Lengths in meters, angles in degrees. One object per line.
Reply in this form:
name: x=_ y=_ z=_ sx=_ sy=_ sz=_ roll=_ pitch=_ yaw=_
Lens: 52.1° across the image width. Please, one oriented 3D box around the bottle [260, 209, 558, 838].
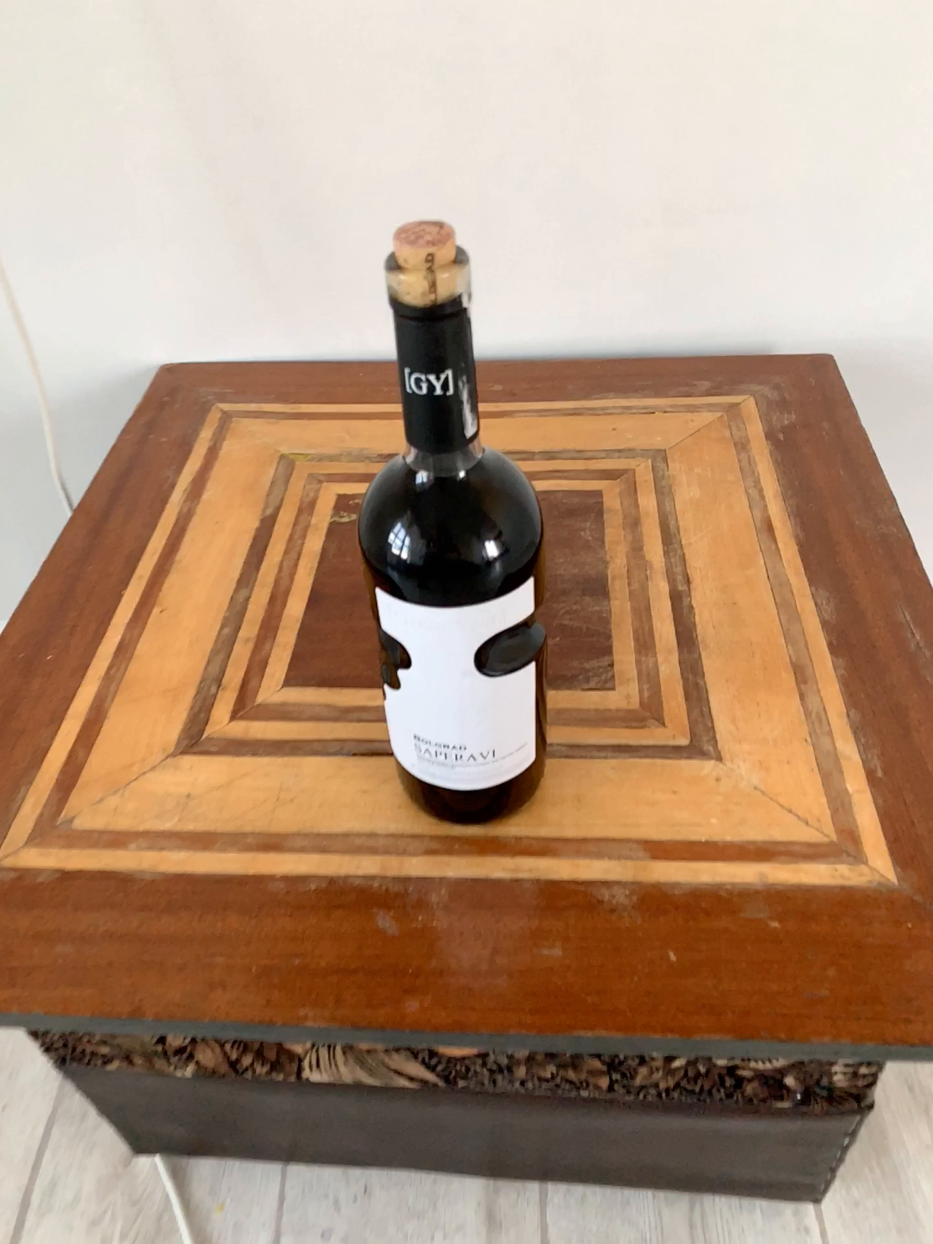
bottle: x=-0.007 y=-0.024 z=0.416 sx=0.090 sy=0.269 sz=0.090 roll=-3 pitch=42 yaw=3
